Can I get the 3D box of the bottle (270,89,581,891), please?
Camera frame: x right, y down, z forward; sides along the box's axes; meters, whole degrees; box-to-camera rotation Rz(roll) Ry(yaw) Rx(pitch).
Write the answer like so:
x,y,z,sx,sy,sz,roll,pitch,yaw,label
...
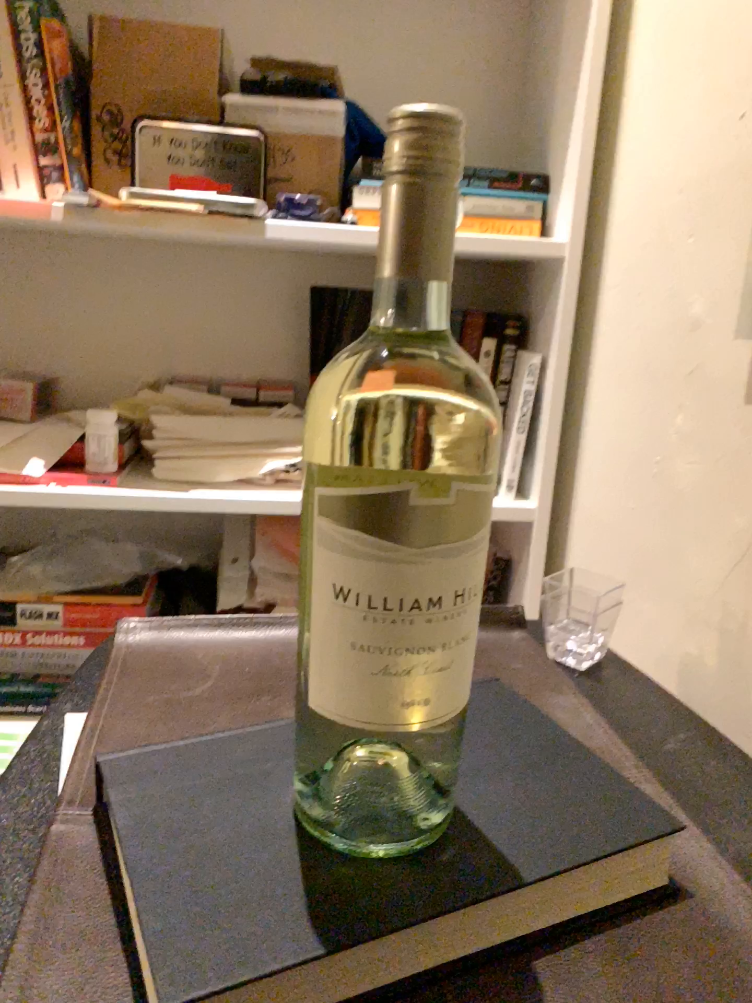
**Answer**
x,y,z,sx,sy,sz,roll,pitch,yaw,label
0.008,0.002,0.335,0.090,0.299,0.090,3,13,-1,bottle
